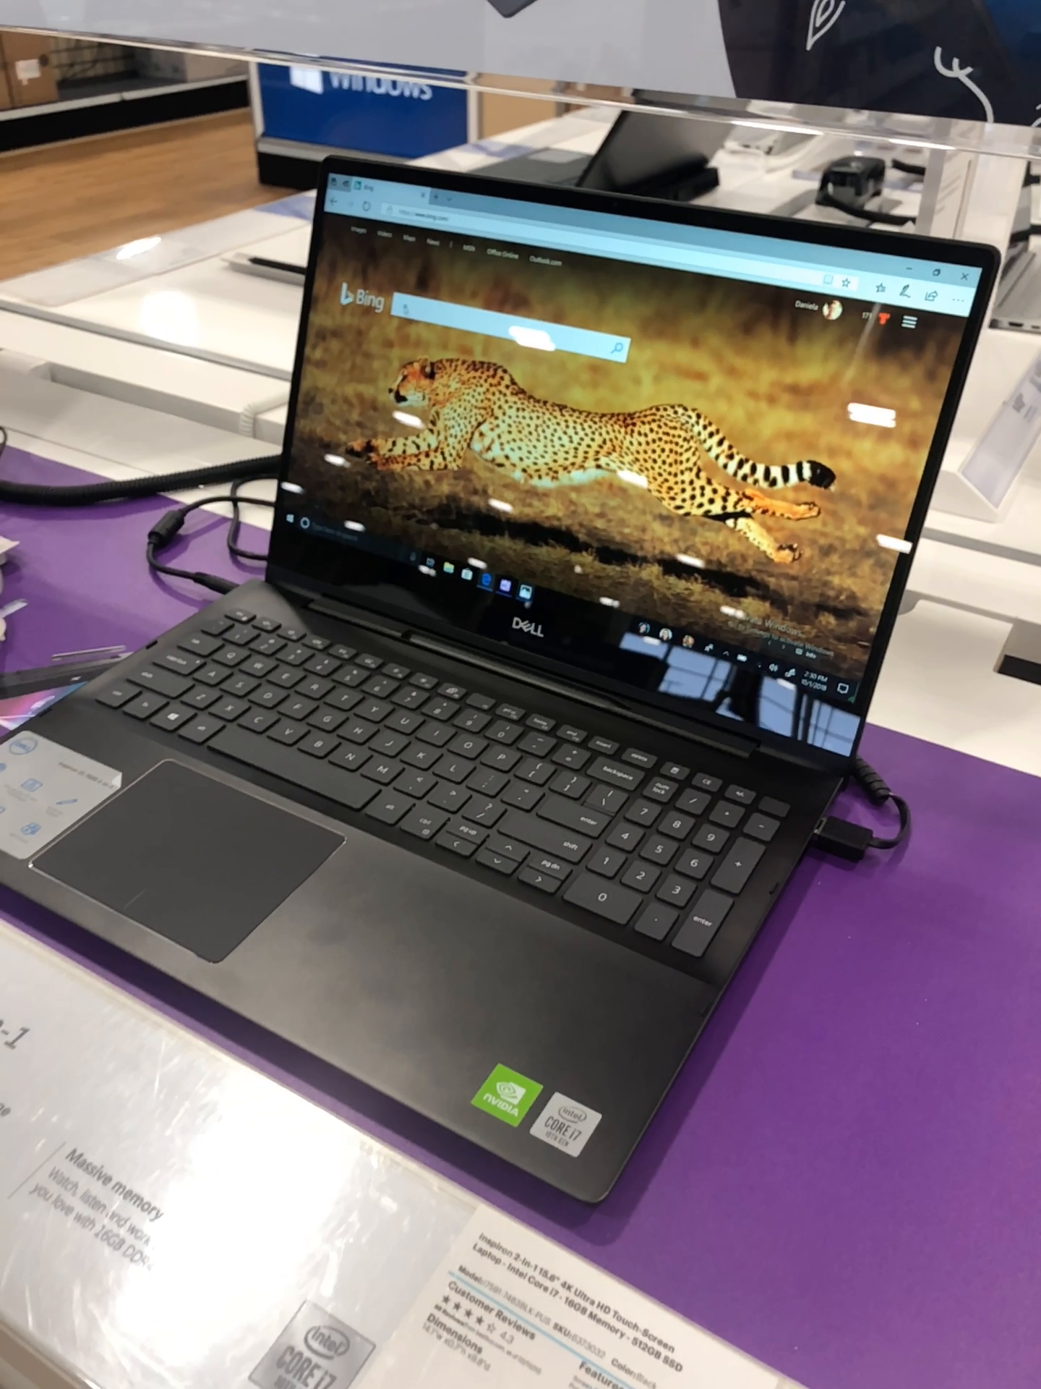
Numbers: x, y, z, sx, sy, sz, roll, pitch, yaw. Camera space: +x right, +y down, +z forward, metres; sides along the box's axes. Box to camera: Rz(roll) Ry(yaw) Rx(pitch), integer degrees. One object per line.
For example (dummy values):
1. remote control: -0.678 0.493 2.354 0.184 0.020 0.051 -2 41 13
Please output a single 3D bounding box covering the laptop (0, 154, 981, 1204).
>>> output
1. laptop: -0.046 -0.064 0.472 0.341 0.207 0.325 19 39 24
